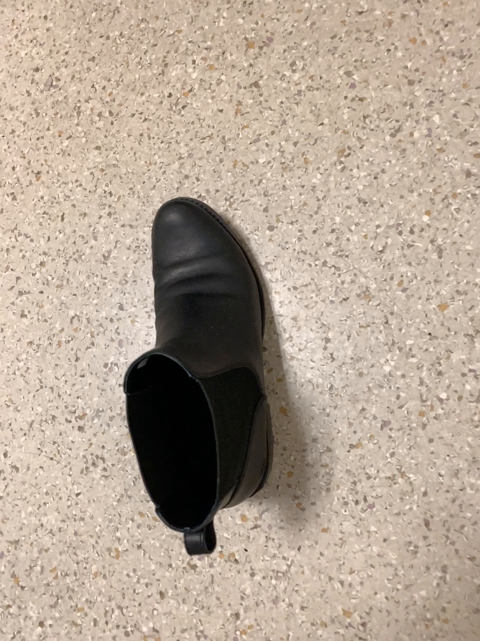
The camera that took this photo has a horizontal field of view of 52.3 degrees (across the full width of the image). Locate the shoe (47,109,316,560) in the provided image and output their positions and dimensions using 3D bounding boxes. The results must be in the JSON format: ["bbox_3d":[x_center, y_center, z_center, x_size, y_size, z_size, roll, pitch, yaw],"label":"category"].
[{"bbox_3d":[-0.037,0.011,0.383,0.107,0.147,0.270,-16,78,13],"label":"shoe"}]
